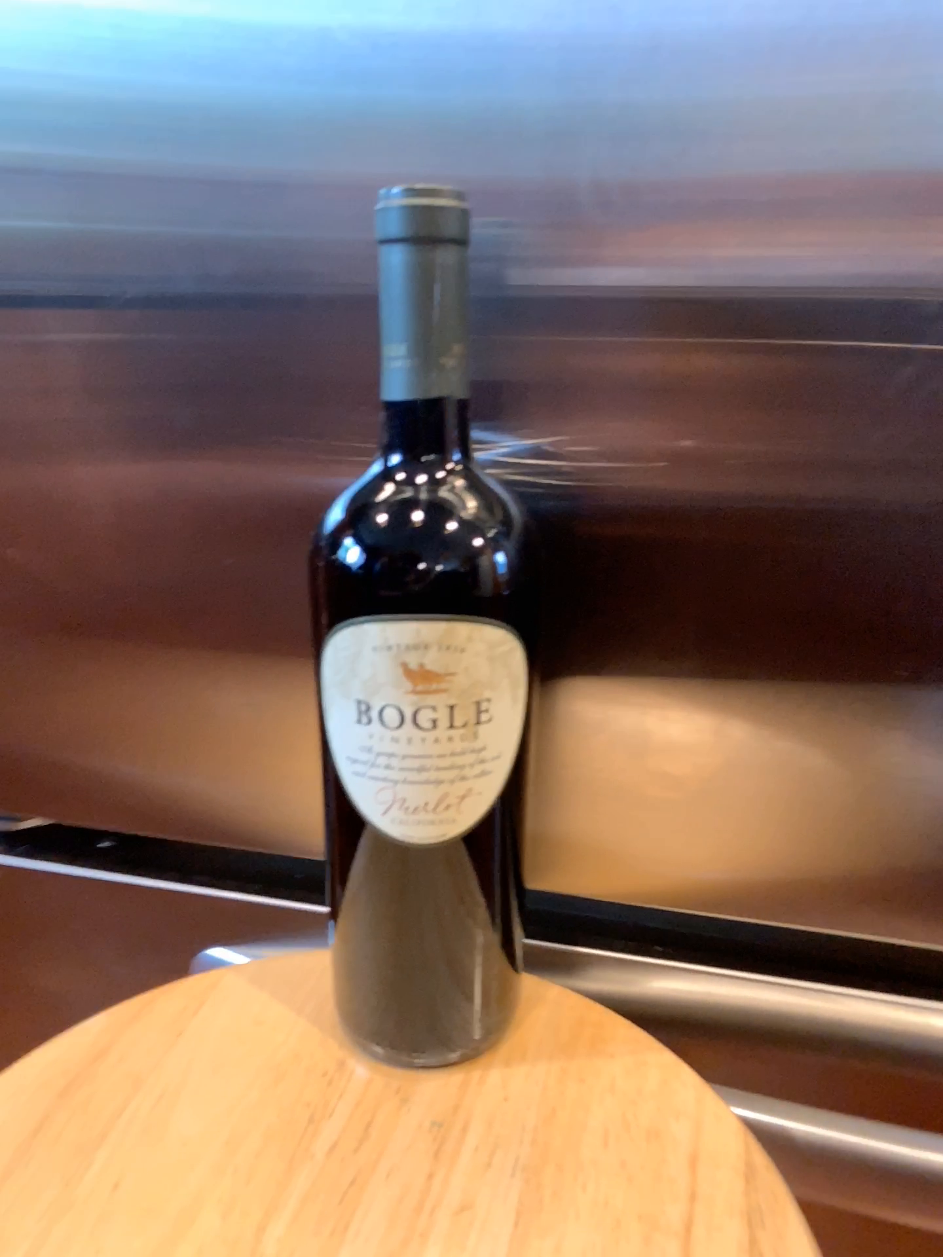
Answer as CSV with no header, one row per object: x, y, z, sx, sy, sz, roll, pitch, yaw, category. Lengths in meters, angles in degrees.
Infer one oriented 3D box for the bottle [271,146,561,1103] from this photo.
-0.021,0.008,0.350,0.080,0.319,0.080,0,17,0,bottle
